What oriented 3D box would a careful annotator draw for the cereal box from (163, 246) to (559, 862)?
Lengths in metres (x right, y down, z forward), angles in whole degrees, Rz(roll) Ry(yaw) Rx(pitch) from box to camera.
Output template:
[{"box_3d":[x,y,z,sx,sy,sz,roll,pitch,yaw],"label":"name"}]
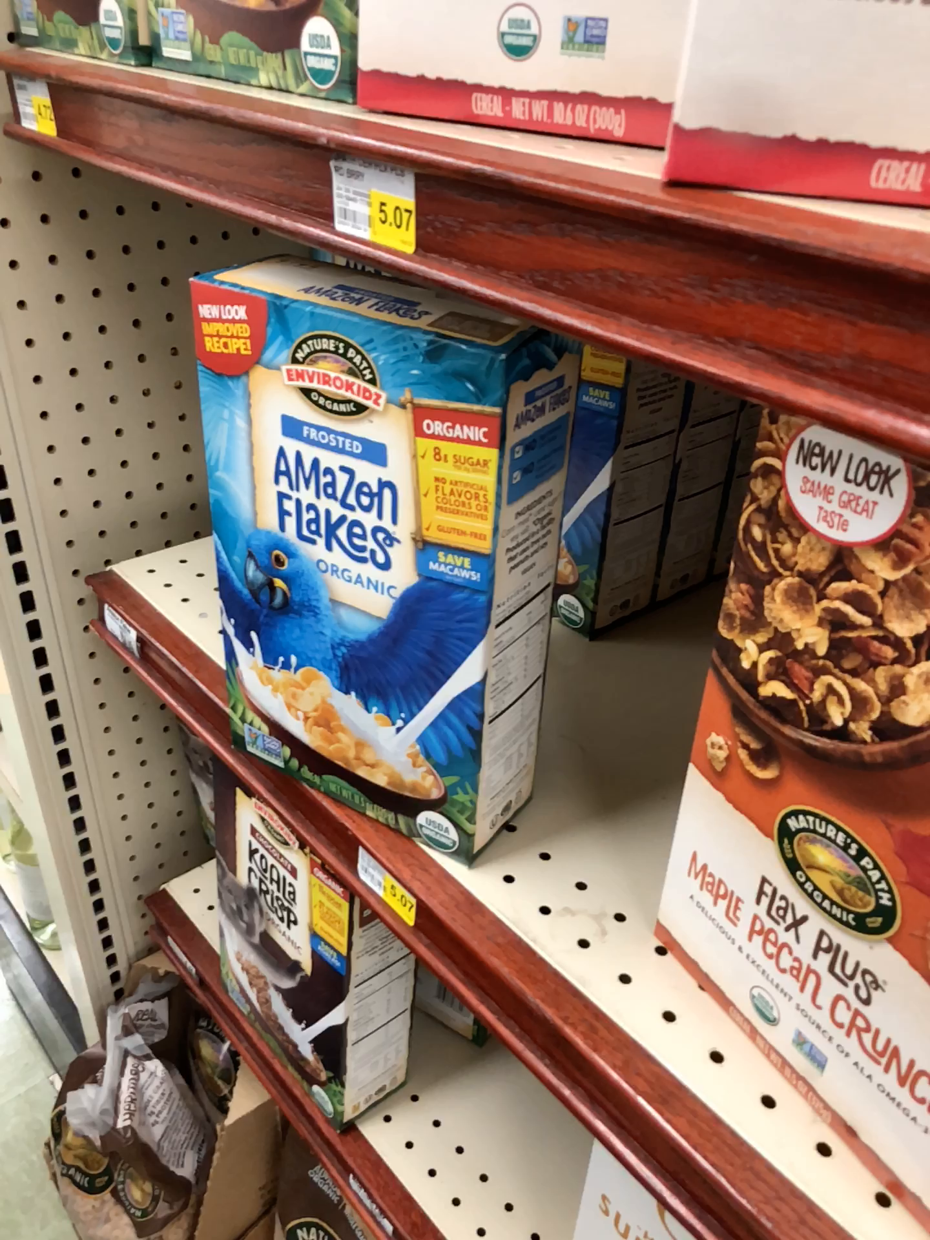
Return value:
[{"box_3d":[-0.047,-0.028,0.493,0.160,0.259,0.060,21,38,27],"label":"cereal box"}]
